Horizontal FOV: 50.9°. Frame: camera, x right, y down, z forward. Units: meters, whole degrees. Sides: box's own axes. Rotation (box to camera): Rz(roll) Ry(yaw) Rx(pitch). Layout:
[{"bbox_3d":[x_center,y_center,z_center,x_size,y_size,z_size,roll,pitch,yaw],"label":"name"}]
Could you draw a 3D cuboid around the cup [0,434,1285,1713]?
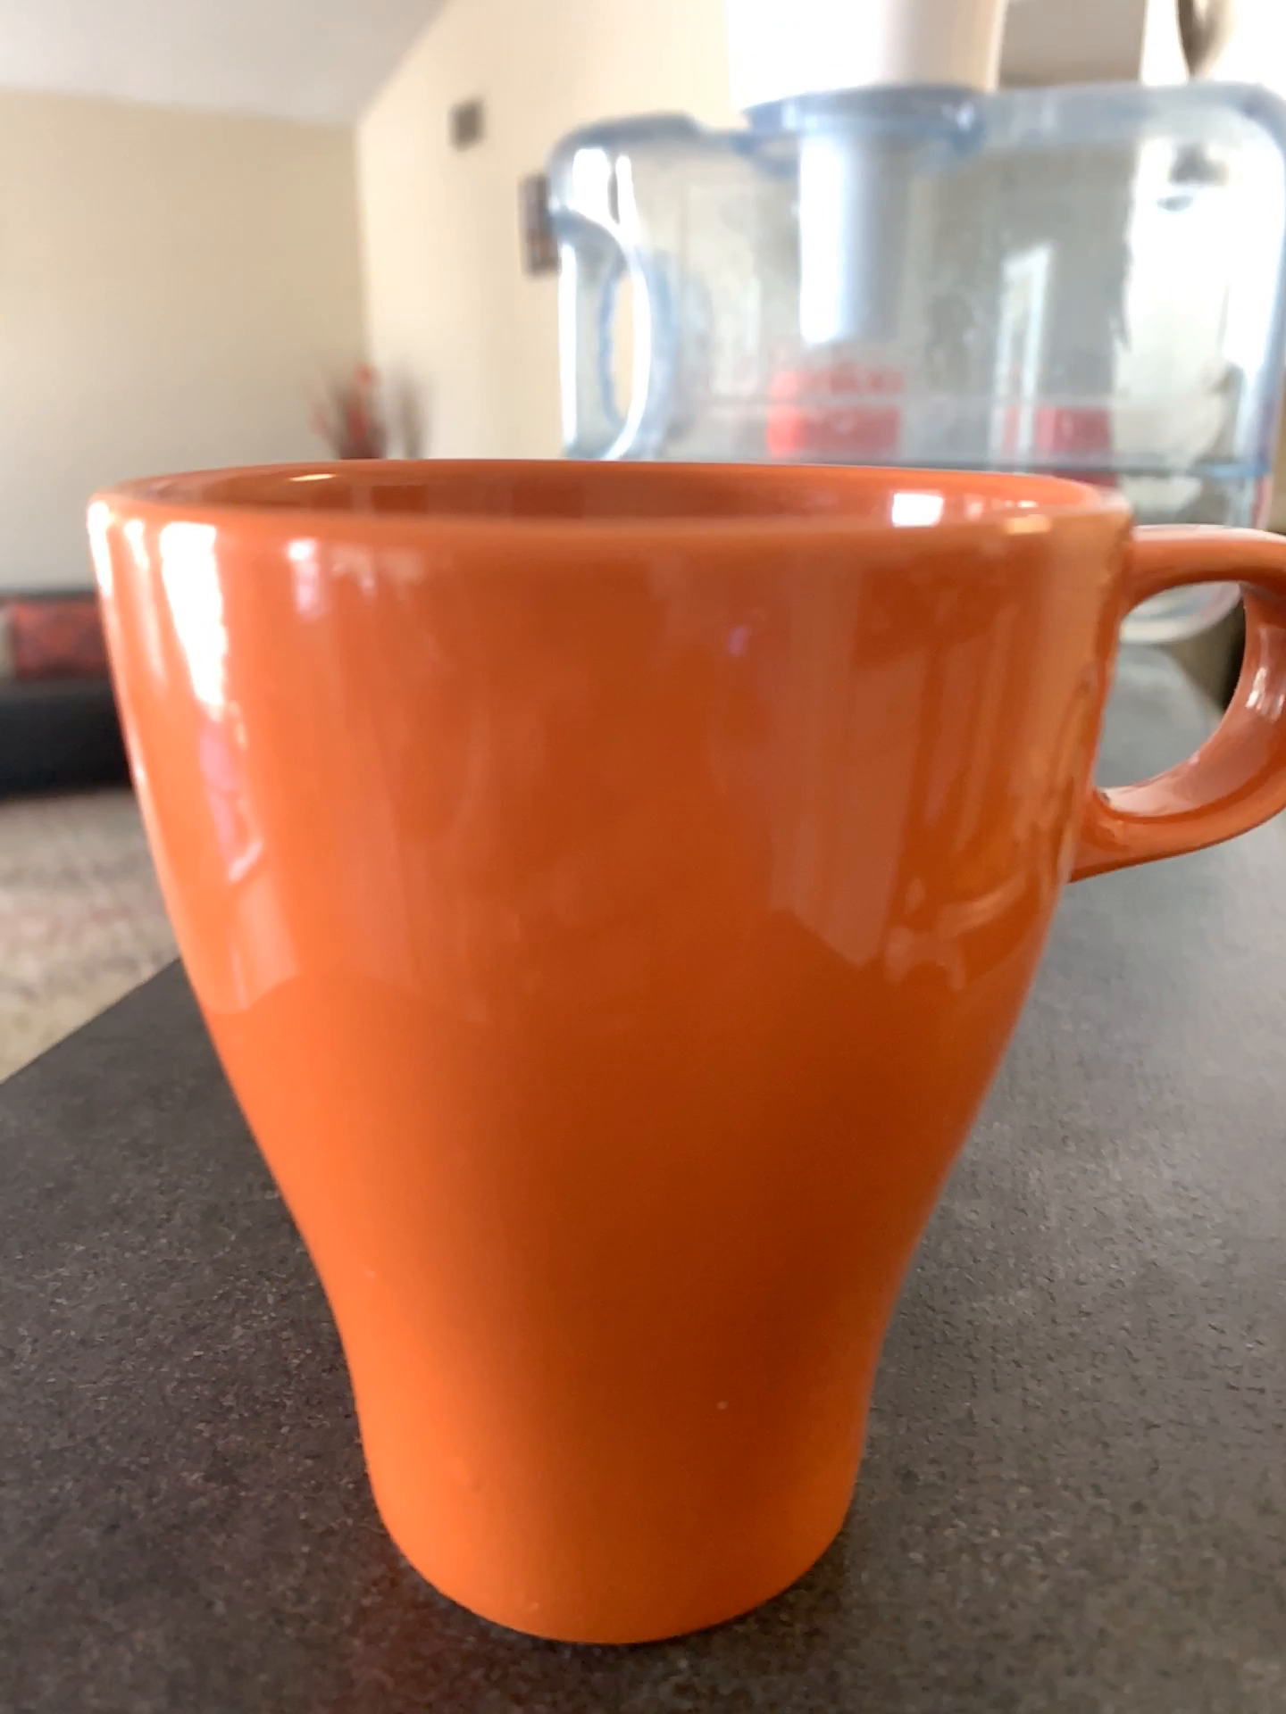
[{"bbox_3d":[0.018,0.010,0.122,0.120,0.090,0.080,-2,18,-6],"label":"cup"}]
